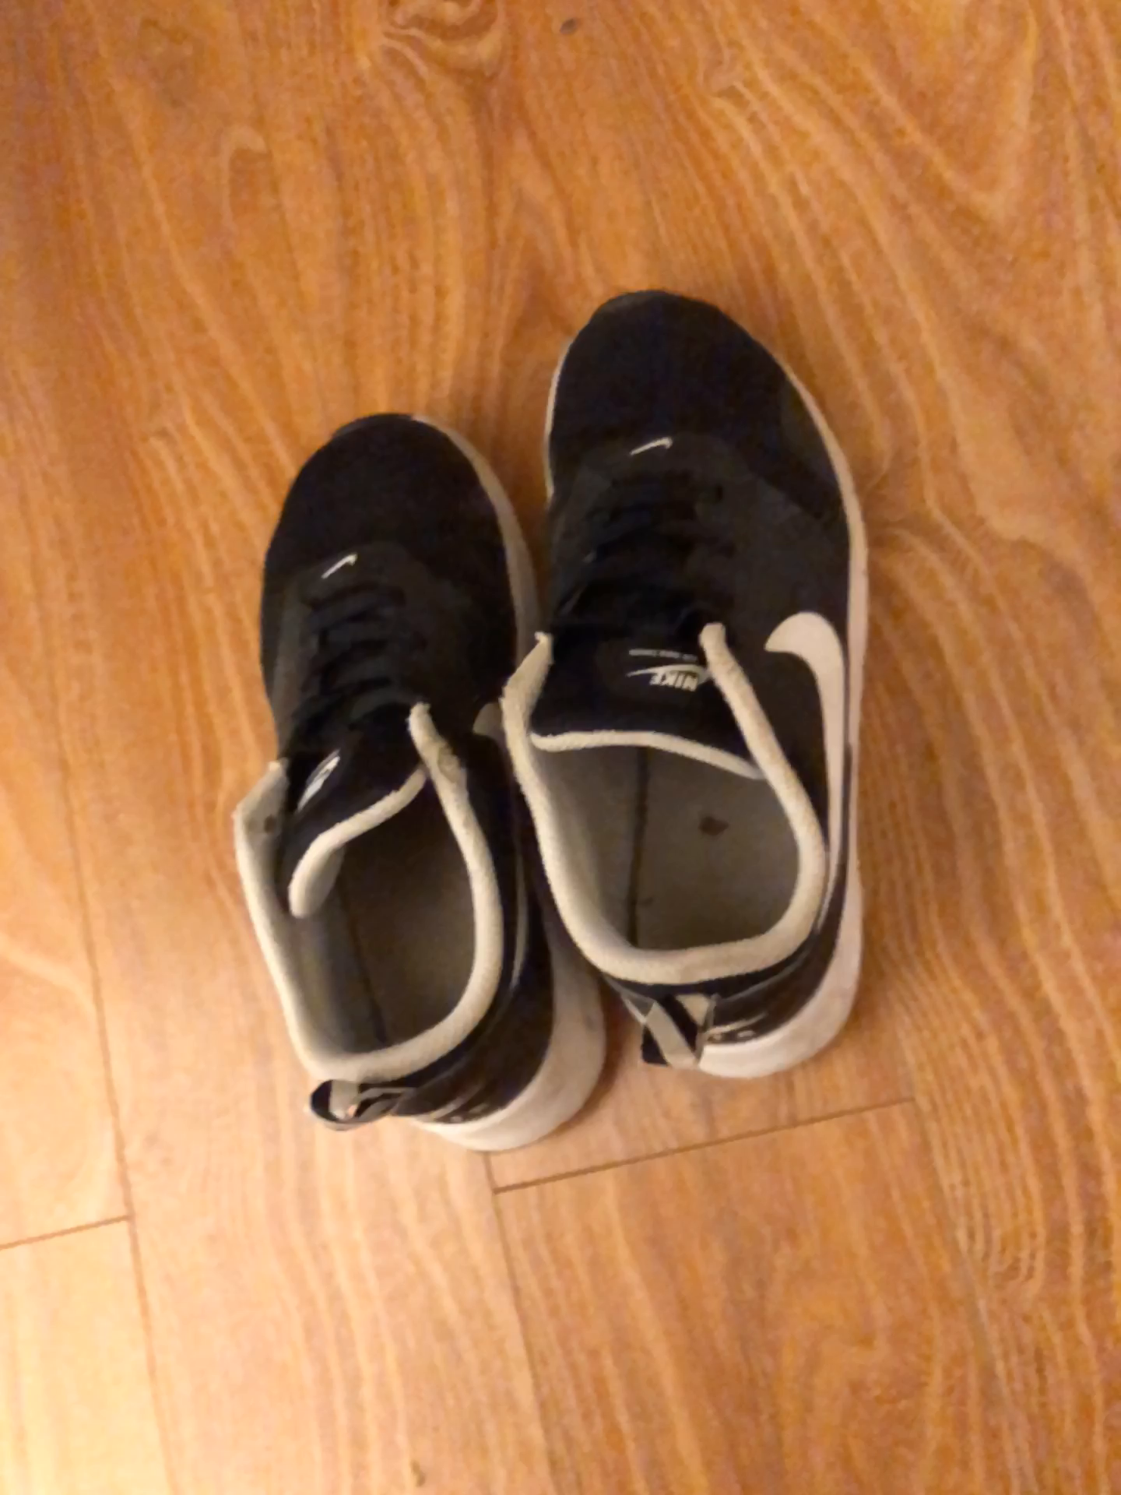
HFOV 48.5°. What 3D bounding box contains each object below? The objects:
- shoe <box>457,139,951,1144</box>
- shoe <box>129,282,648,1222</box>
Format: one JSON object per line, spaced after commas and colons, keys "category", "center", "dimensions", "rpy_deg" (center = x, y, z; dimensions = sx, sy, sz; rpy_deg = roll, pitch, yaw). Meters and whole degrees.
{"category": "shoe", "center": [0.039, -0.023, 0.331], "dimensions": [0.090, 0.080, 0.230], "rpy_deg": [-9, 79, 16]}
{"category": "shoe", "center": [-0.049, 0.002, 0.358], "dimensions": [0.090, 0.080, 0.230], "rpy_deg": [-13, 78, 15]}
